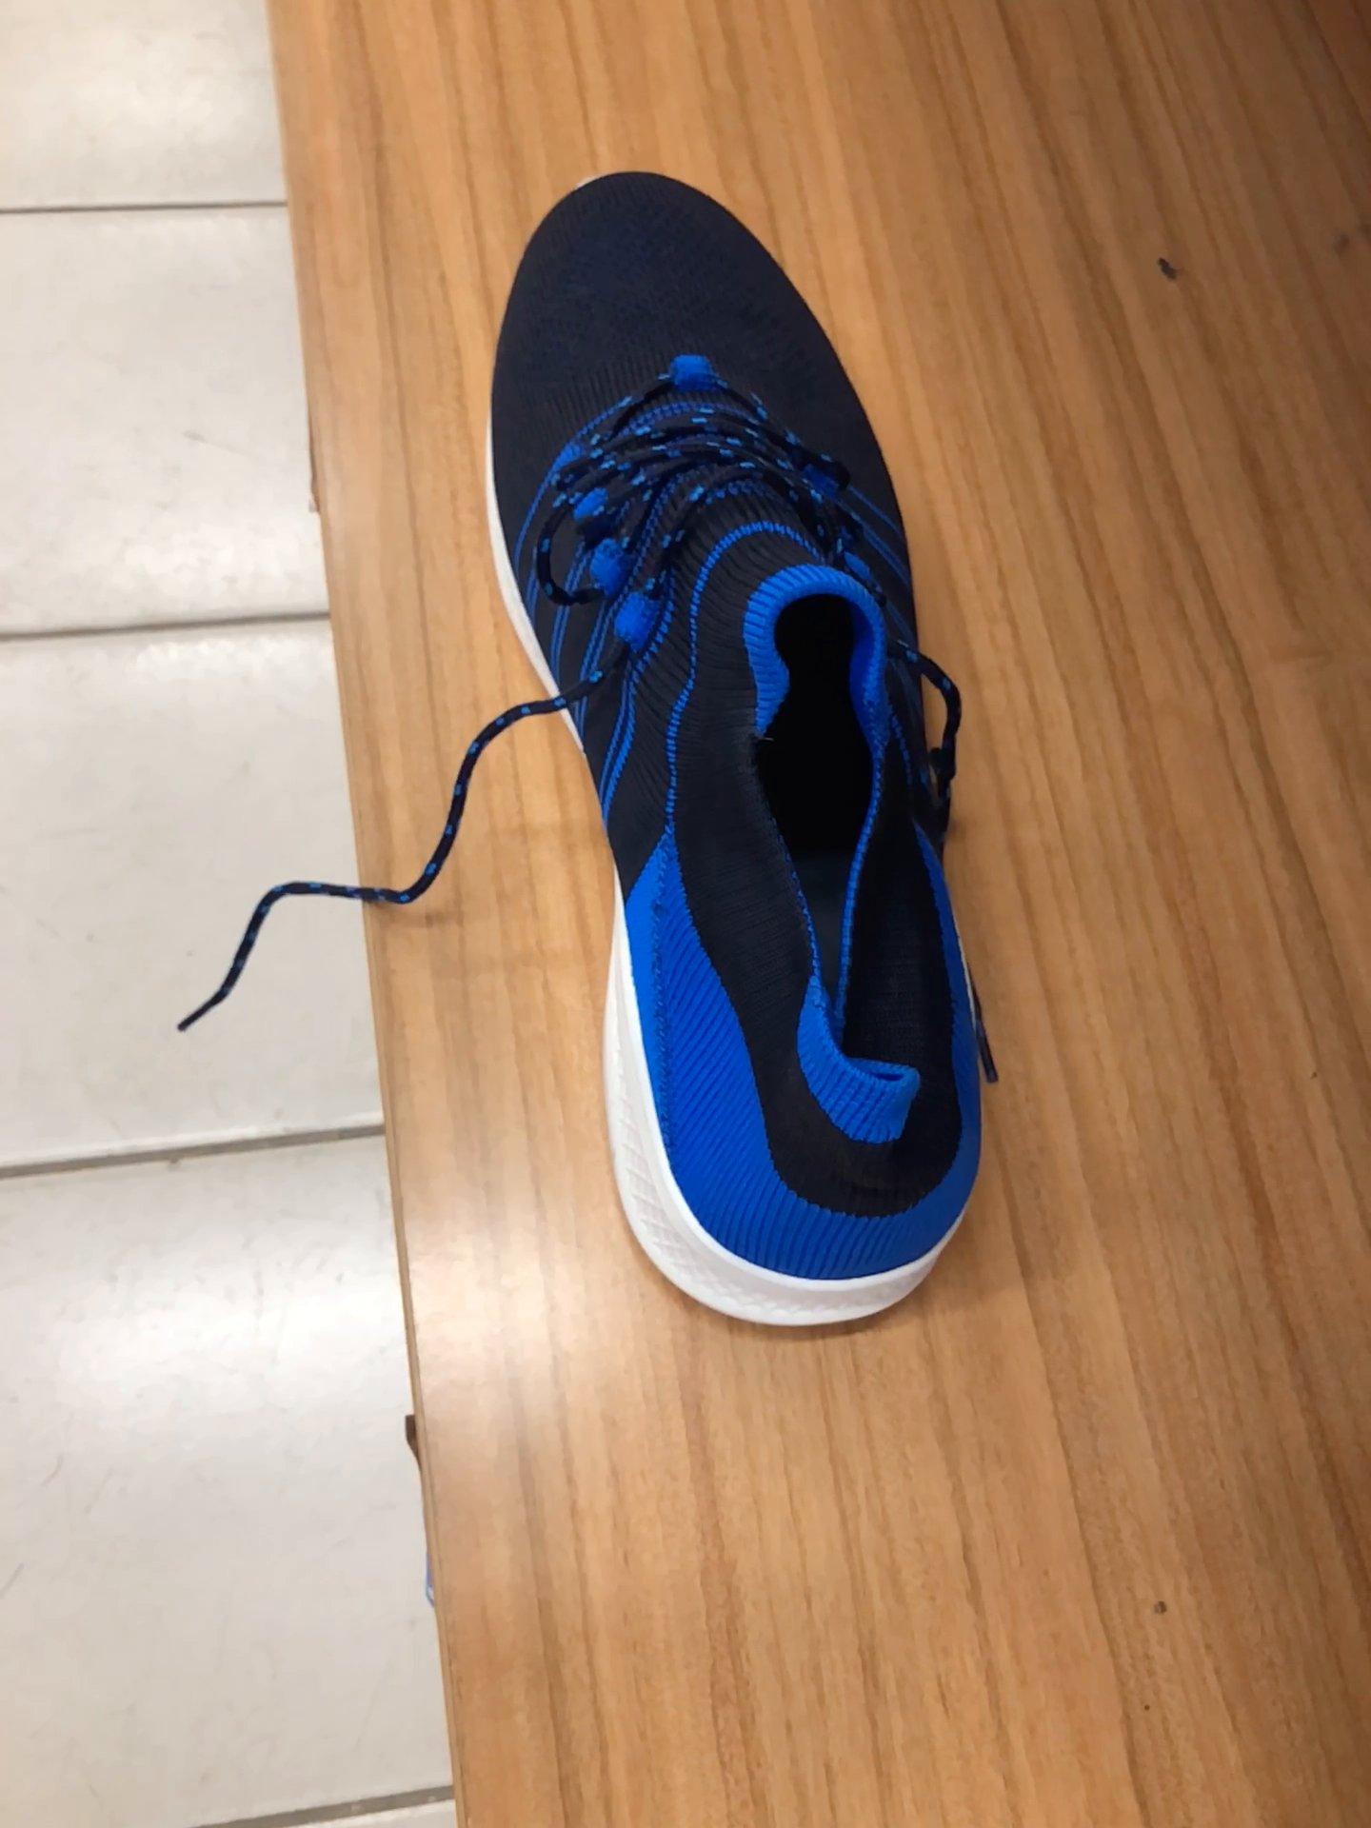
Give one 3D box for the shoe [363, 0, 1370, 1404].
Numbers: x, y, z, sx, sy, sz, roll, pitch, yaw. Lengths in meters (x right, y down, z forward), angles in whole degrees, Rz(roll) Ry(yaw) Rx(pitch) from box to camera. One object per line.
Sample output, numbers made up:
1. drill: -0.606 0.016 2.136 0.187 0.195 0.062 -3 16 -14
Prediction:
1. shoe: 0.015 -0.051 0.301 0.110 0.110 0.260 -9 72 -9
